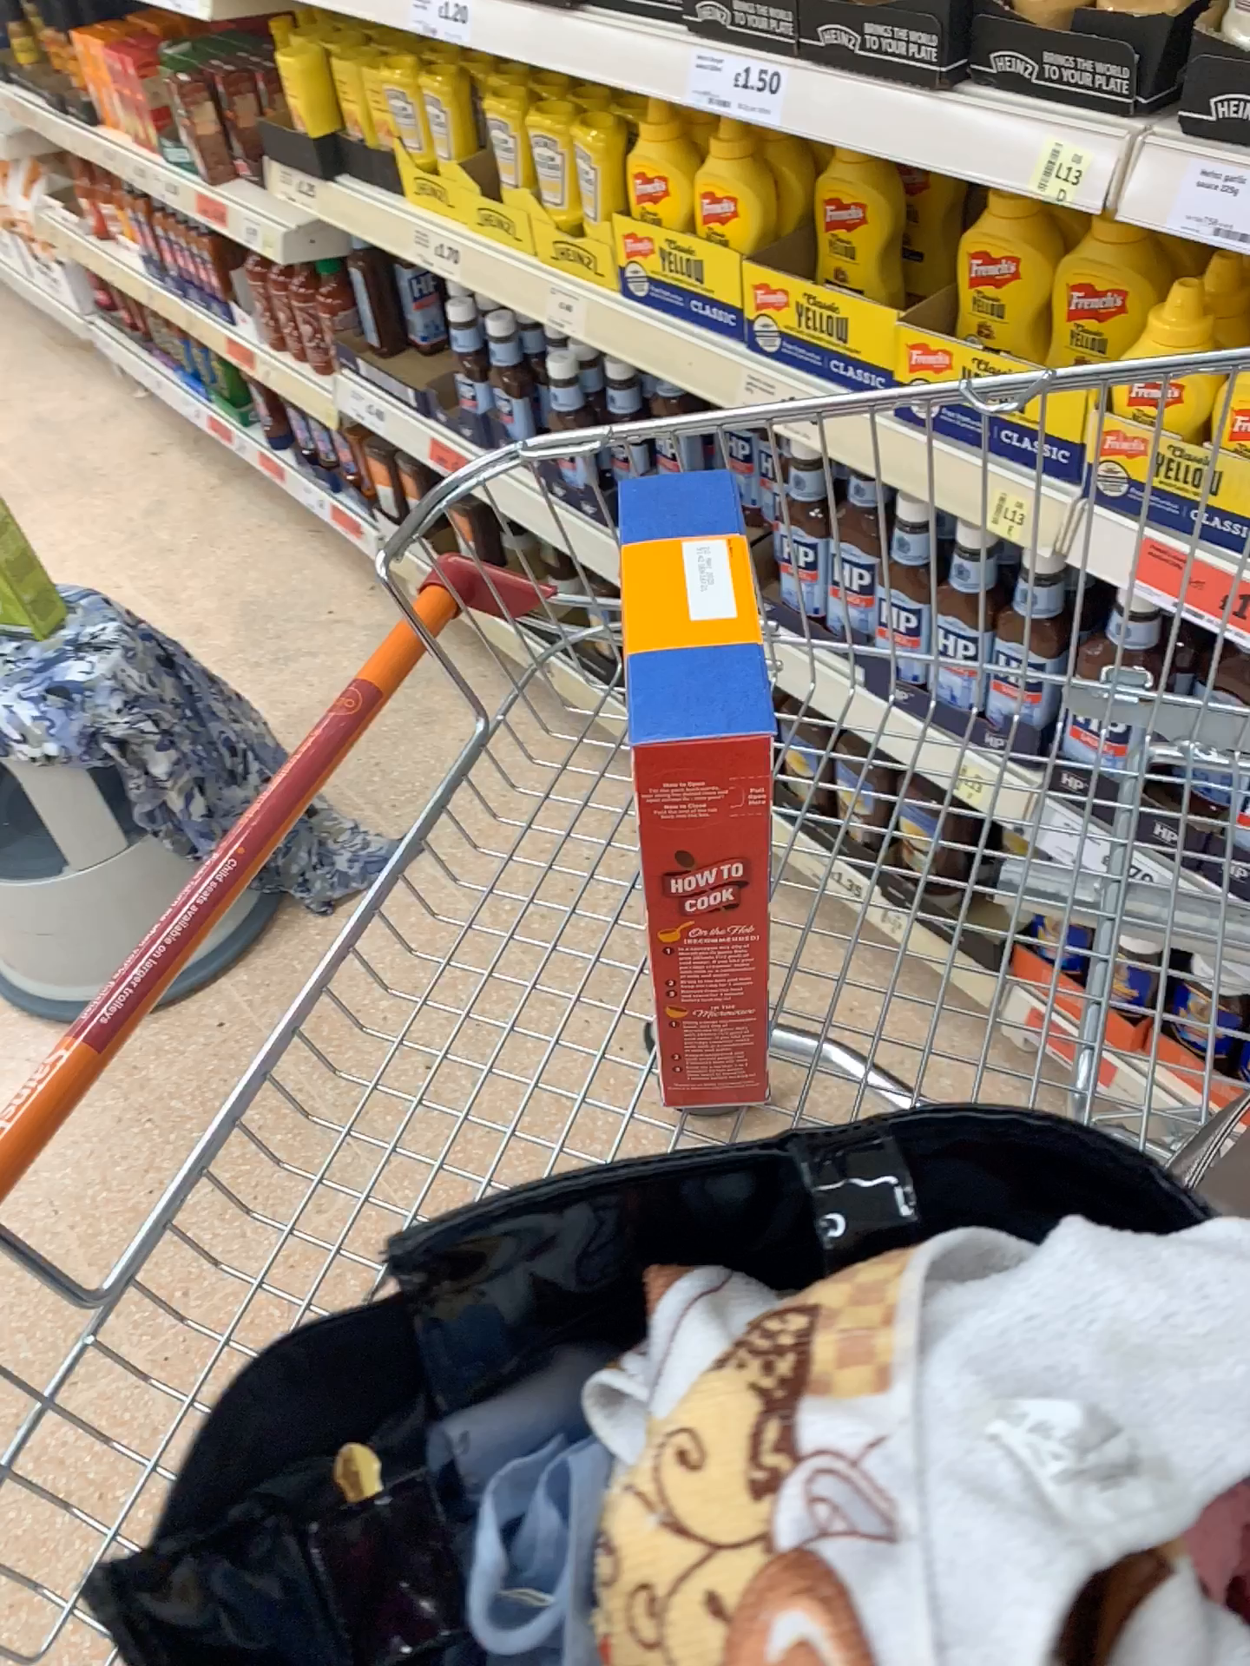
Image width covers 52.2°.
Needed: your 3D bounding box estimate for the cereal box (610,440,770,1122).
[{"bbox_3d":[0.030,-0.016,0.588,0.050,0.258,0.182,-4,46,2],"label":"cereal box"}]
